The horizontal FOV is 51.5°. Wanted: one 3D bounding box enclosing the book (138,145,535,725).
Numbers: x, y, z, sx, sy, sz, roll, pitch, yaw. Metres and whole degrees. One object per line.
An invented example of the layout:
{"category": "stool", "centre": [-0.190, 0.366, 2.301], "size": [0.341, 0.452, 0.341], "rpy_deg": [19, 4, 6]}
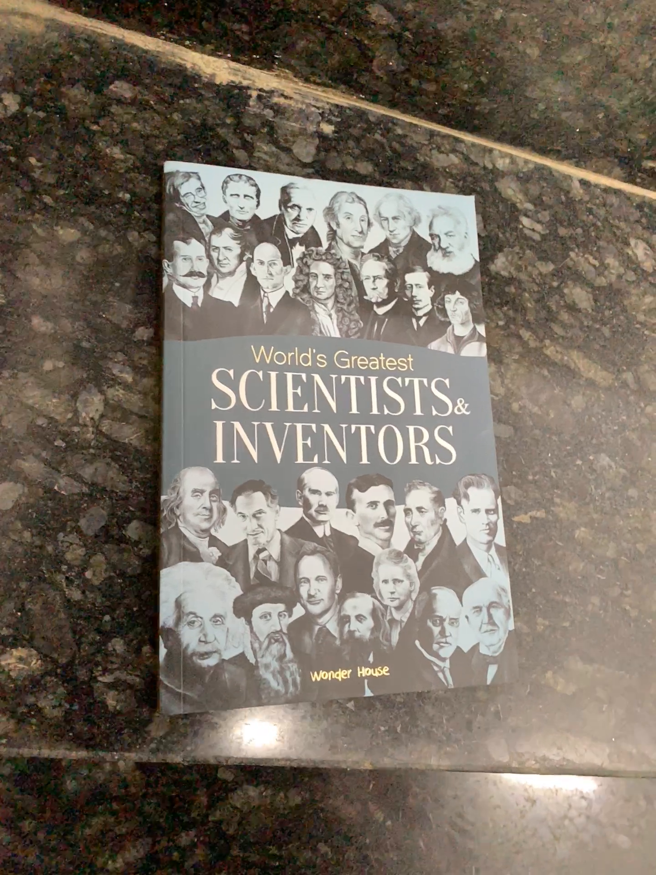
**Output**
{"category": "book", "centre": [0.002, -0.007, 0.260], "size": [0.140, 0.020, 0.200], "rpy_deg": [1, 77, -18]}
